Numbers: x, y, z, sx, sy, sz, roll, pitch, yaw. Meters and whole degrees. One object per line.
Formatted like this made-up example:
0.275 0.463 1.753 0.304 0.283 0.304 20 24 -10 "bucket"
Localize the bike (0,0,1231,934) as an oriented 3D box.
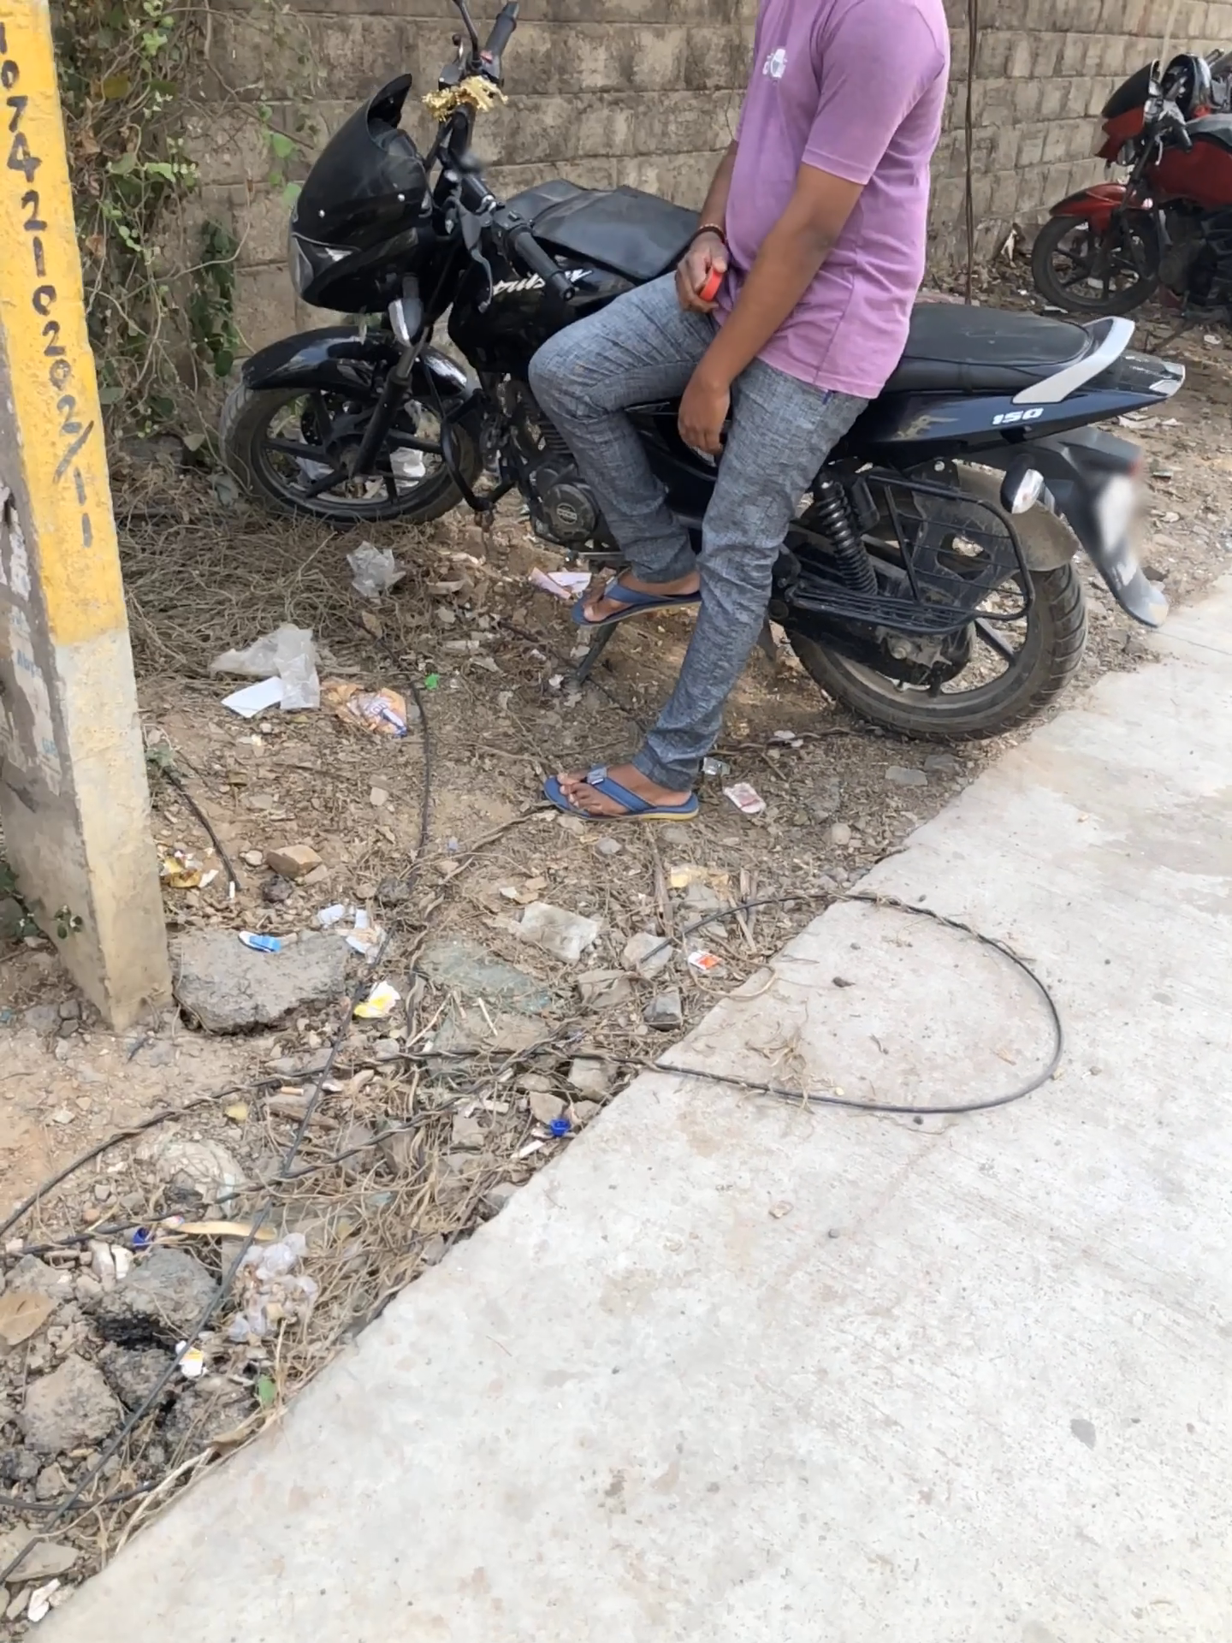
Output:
-0.011 -0.763 2.432 1.810 1.215 0.819 15 34 13 "bike"
